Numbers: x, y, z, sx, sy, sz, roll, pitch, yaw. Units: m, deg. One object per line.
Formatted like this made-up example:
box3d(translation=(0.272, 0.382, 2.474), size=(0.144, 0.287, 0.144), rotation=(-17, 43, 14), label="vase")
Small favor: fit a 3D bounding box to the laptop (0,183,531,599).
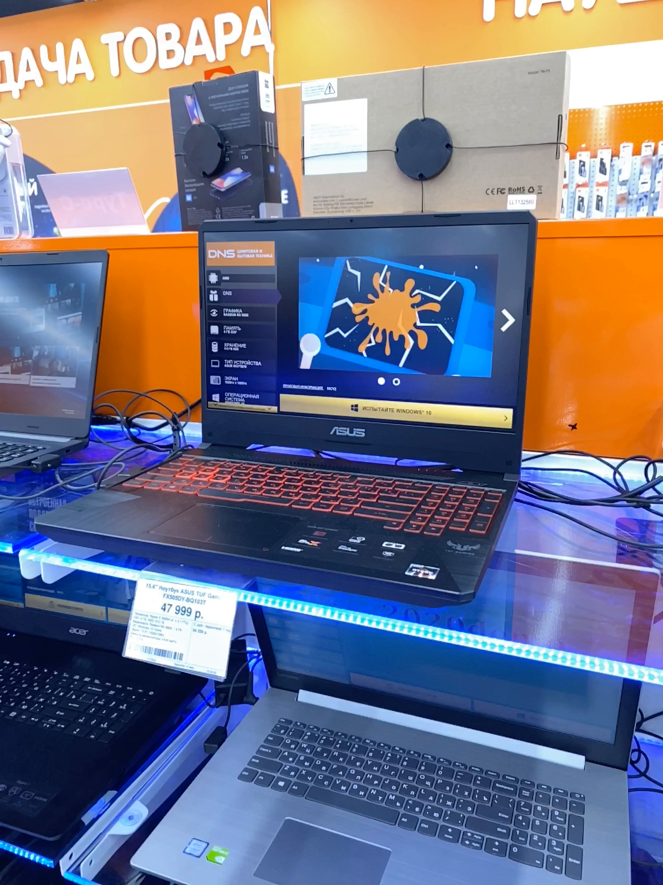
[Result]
box3d(translation=(-0.029, -0.072, 0.597), size=(0.359, 0.248, 0.286), rotation=(5, 15, 21), label="laptop")
